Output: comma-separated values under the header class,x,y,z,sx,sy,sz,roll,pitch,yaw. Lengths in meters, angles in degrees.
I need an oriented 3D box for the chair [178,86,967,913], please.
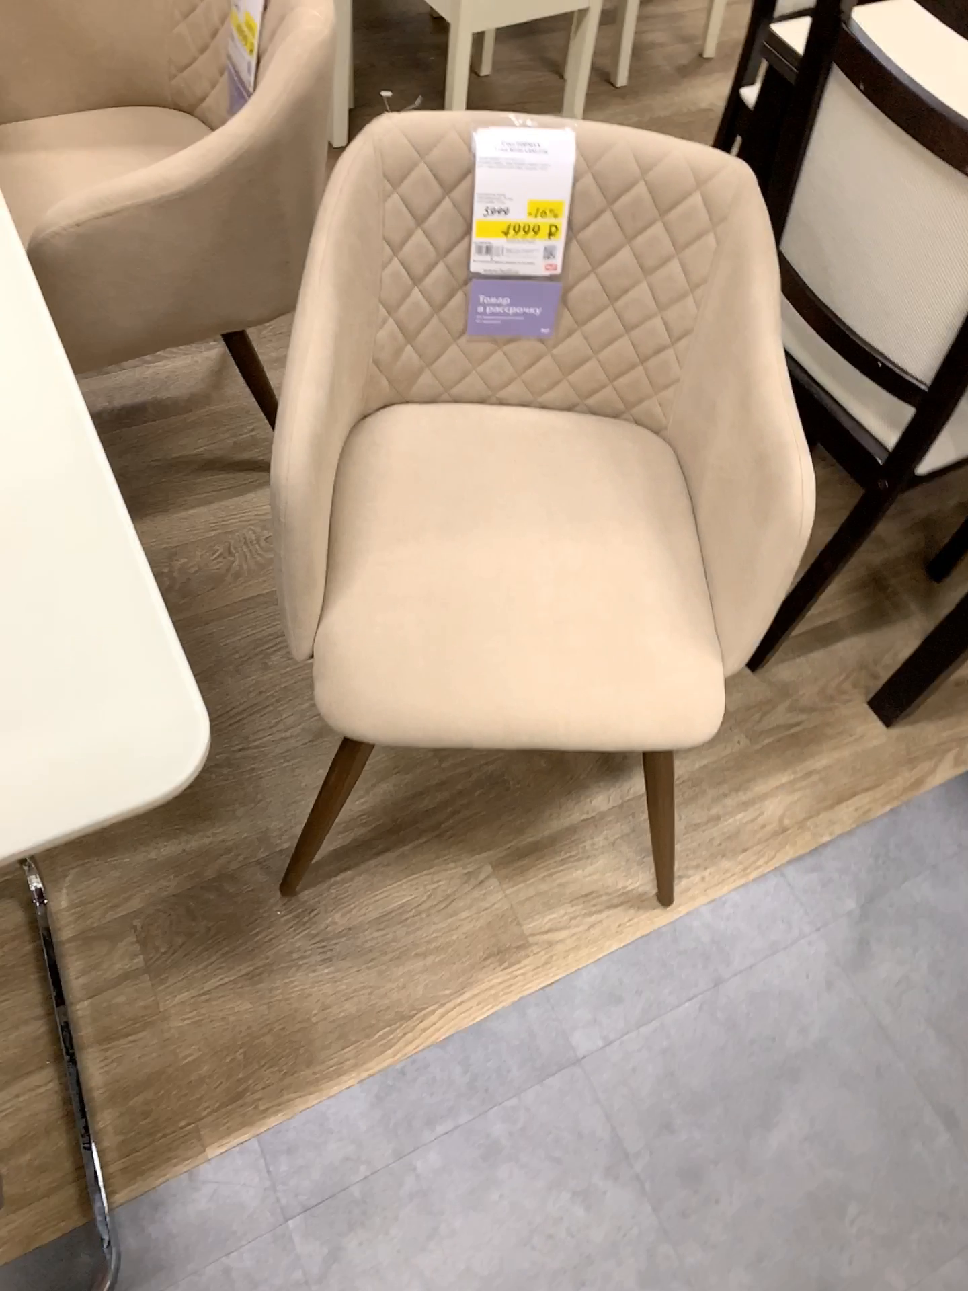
class,x,y,z,sx,sy,sz,roll,pitch,yaw
chair,0.034,-0.083,1.221,0.600,0.837,0.572,3,58,-6
